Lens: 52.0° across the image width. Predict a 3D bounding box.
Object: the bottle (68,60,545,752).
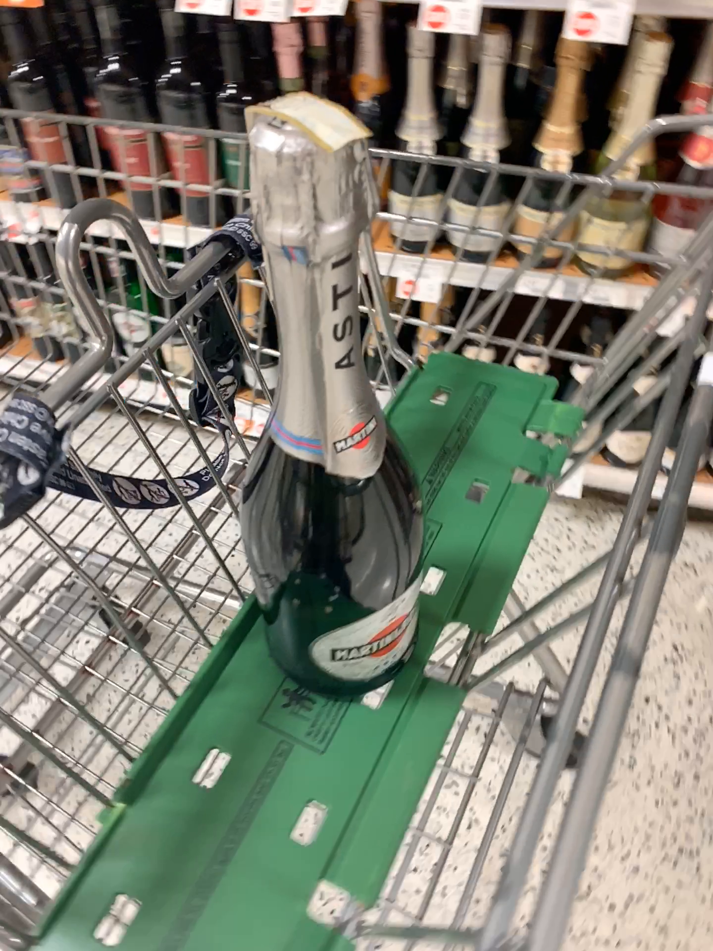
[{"bbox_3d":[-0.011,0.000,0.323,0.100,0.287,0.101,-2,50,2],"label":"bottle"}]
